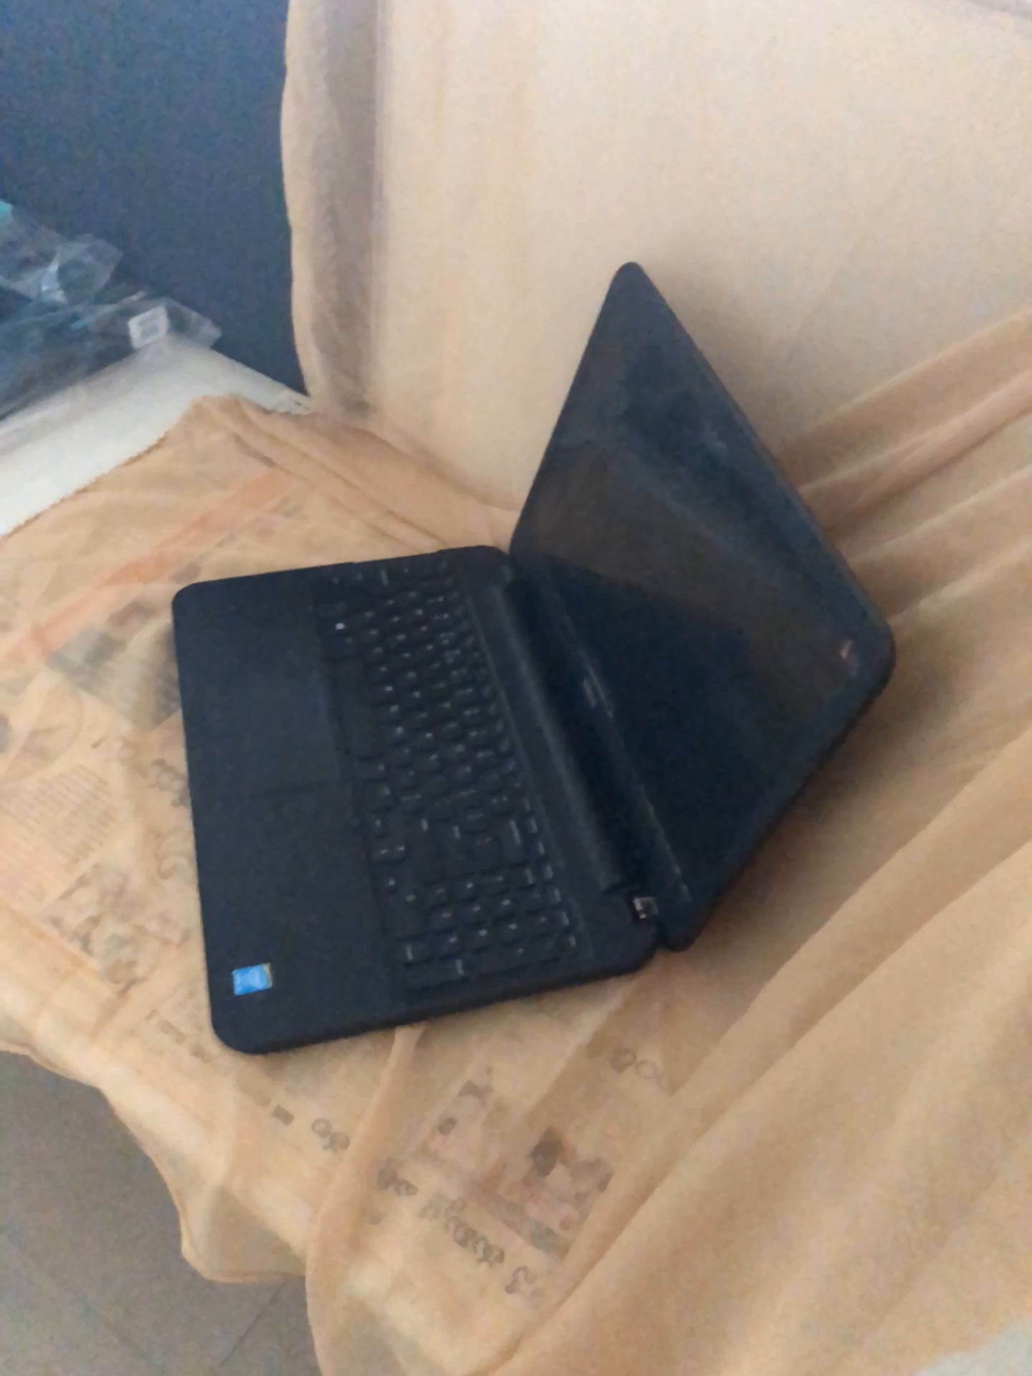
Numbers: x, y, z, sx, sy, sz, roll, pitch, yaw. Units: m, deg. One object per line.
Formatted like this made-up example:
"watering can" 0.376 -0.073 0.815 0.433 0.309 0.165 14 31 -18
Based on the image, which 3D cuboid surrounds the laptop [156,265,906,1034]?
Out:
"laptop" -0.030 -0.044 0.663 0.305 0.225 0.350 -8 49 -13
